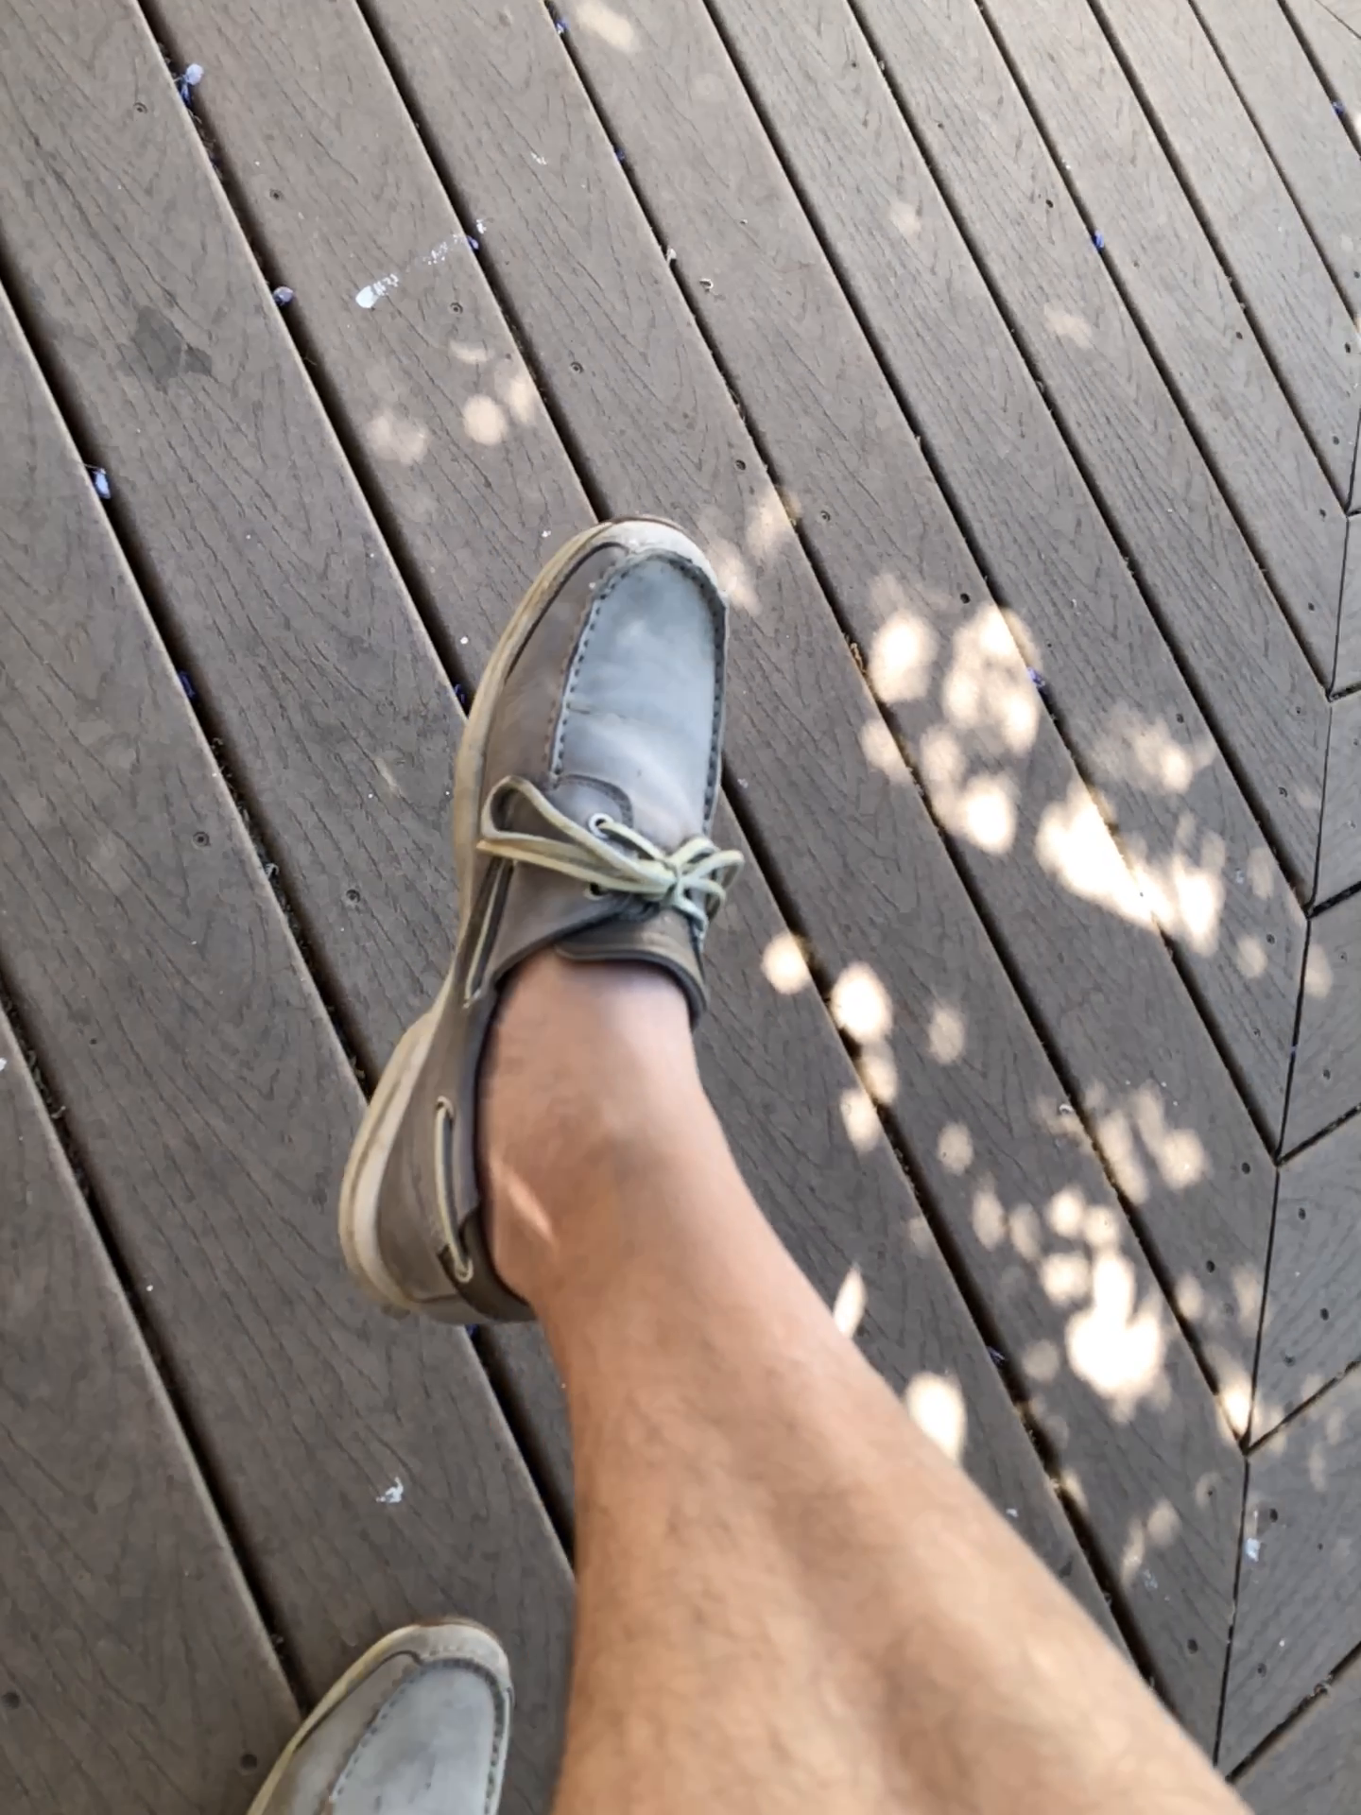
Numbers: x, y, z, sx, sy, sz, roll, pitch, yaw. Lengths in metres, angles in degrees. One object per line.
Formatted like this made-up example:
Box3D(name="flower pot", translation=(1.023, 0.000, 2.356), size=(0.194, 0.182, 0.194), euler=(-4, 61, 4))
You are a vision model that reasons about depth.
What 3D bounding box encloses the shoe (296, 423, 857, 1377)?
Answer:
Box3D(name="shoe", translation=(-0.036, -0.001, 0.545), size=(0.115, 0.085, 0.306), euler=(17, 79, -21))
